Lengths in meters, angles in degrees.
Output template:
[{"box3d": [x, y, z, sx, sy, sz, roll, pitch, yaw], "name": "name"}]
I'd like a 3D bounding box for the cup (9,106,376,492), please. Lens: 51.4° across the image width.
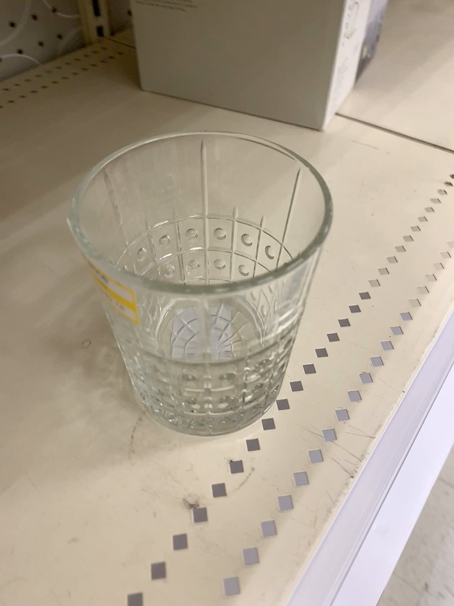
[{"box3d": [-0.011, -0.002, 0.205, 0.090, 0.109, 0.090, 1, 49, -1], "name": "cup"}]
